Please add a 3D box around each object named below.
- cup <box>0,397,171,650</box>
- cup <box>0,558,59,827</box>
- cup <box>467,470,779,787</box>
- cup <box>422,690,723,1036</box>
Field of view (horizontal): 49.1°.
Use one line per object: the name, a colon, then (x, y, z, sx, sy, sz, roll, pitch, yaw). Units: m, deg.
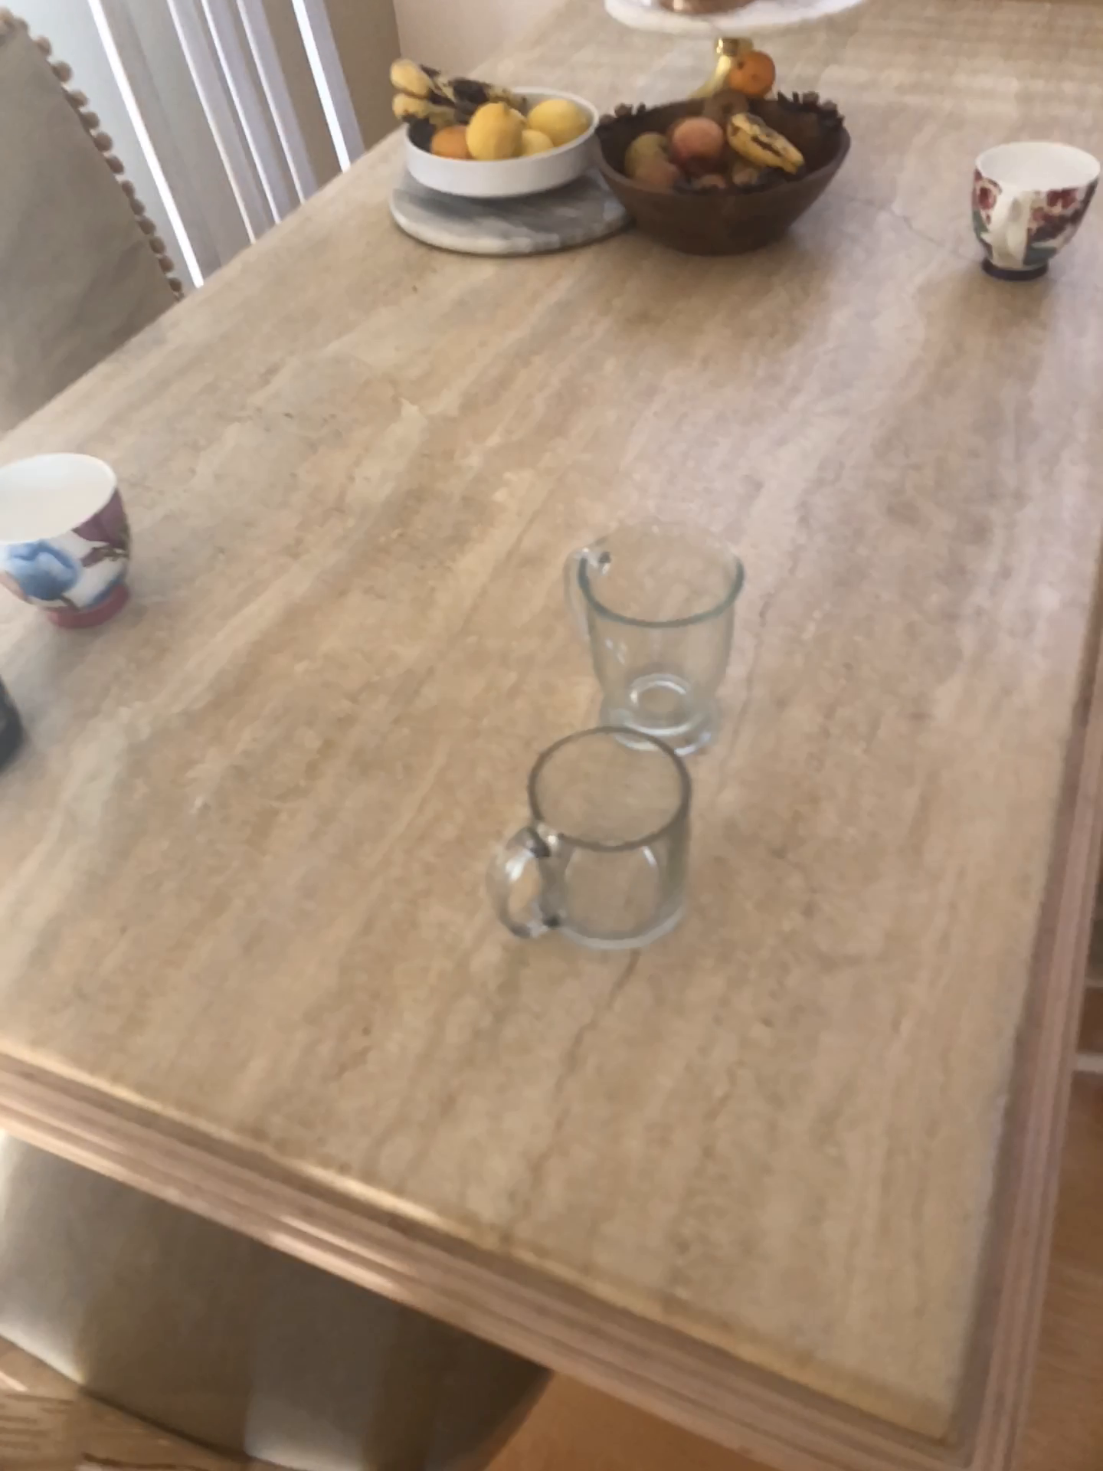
cup: (-0.389, -0.160, 0.893, 0.170, 0.099, 0.101, 28, 54, 28)
cup: (-0.425, -0.030, 0.801, 0.130, 0.109, 0.091, 24, 53, 26)
cup: (0.045, -0.071, 0.759, 0.150, 0.109, 0.111, 29, 55, 29)
cup: (0.015, 0.068, 0.666, 0.131, 0.109, 0.090, -33, 52, -24)
